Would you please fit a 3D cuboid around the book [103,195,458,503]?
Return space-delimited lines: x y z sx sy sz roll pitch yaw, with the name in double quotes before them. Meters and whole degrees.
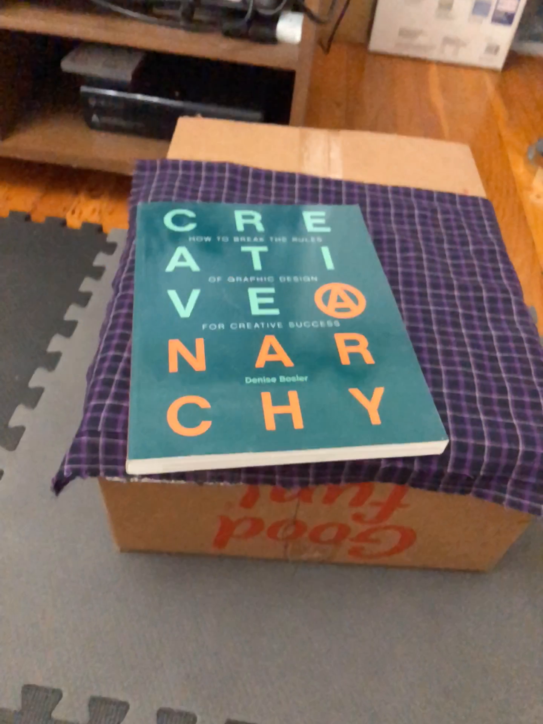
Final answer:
"book" -0.010 -0.038 0.474 0.220 0.020 0.302 -2 48 -9
